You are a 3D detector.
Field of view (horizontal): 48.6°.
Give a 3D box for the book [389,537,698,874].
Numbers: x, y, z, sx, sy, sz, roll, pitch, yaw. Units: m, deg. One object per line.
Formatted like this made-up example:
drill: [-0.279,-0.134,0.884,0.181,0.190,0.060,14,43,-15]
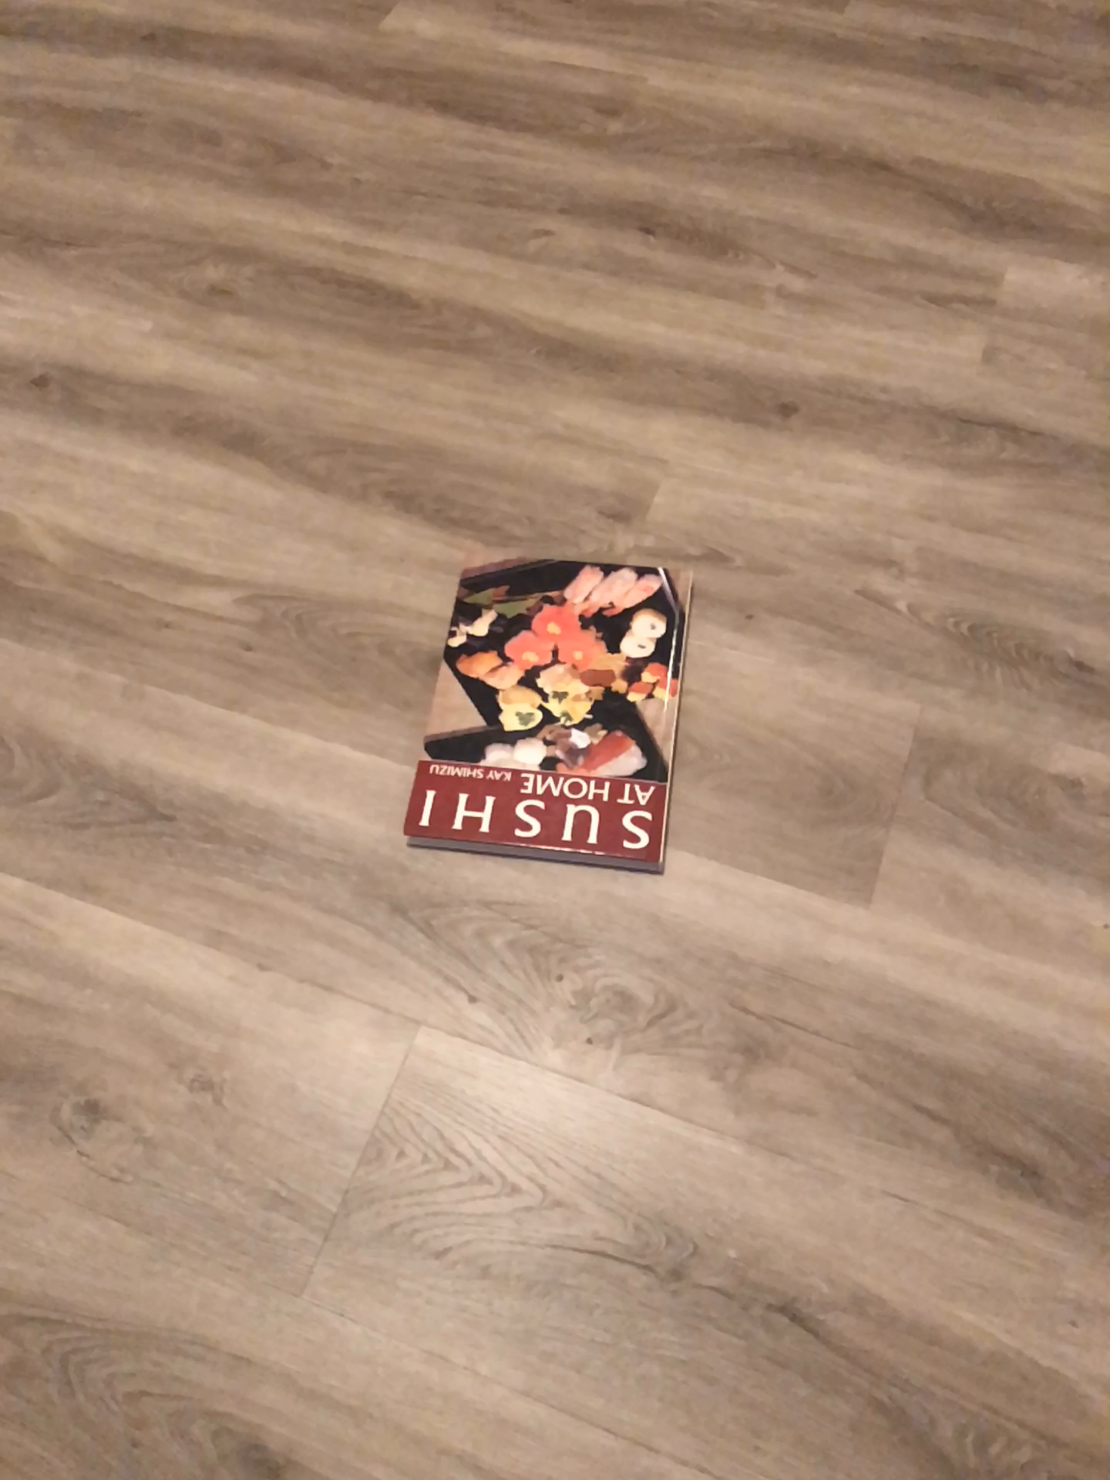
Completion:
book: [-0.001,-0.034,0.918,0.190,0.030,0.259,6,59,7]
